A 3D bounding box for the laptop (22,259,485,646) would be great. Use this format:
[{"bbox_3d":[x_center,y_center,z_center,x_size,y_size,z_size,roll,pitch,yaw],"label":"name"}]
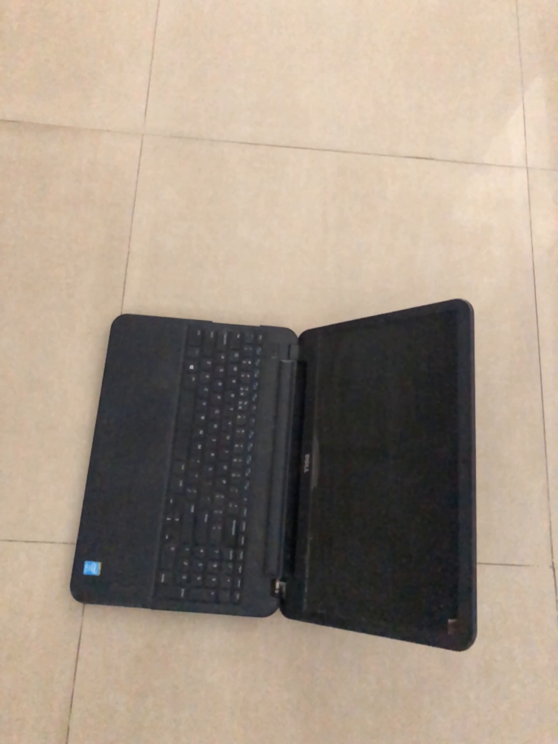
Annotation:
[{"bbox_3d":[-0.013,0.087,0.692,0.427,0.164,0.358,5,75,-1],"label":"laptop"}]
